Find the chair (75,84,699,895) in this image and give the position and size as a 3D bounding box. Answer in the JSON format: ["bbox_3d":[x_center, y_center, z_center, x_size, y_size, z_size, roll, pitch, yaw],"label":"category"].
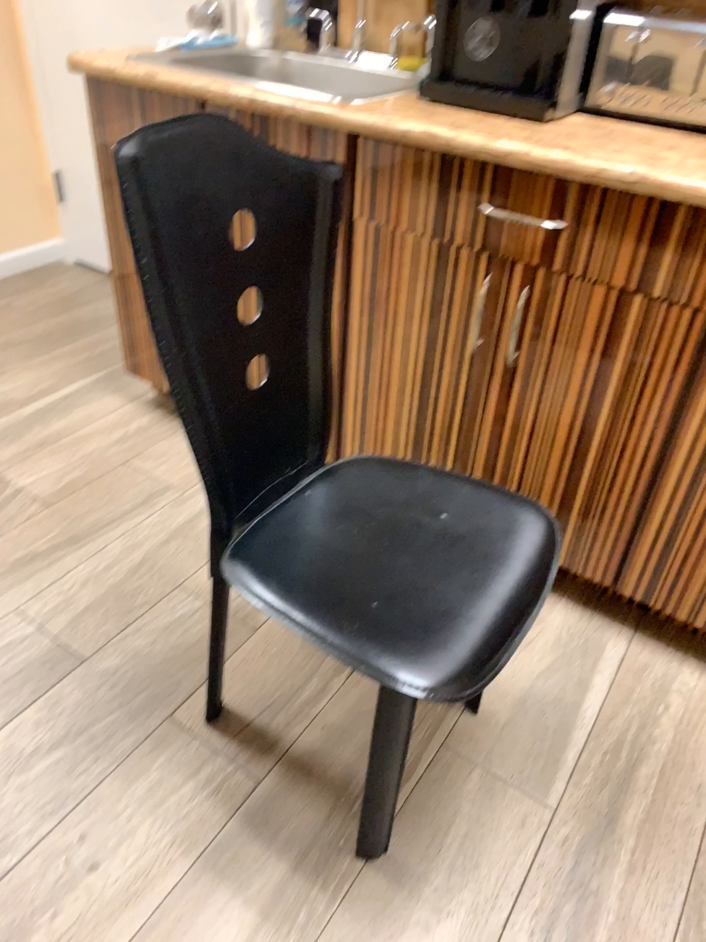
[{"bbox_3d":[0.032,0.037,1.017,0.474,0.940,0.464,24,41,25],"label":"chair"}]
